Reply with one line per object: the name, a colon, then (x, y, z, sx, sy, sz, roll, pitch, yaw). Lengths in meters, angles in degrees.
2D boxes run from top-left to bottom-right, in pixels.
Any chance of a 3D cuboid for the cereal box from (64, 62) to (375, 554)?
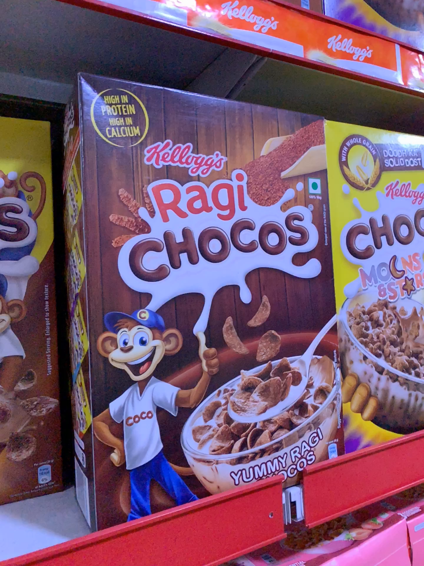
cereal box: (0.009, 0.007, 0.284, 0.180, 0.240, 0.060, -3, -2, -27)
